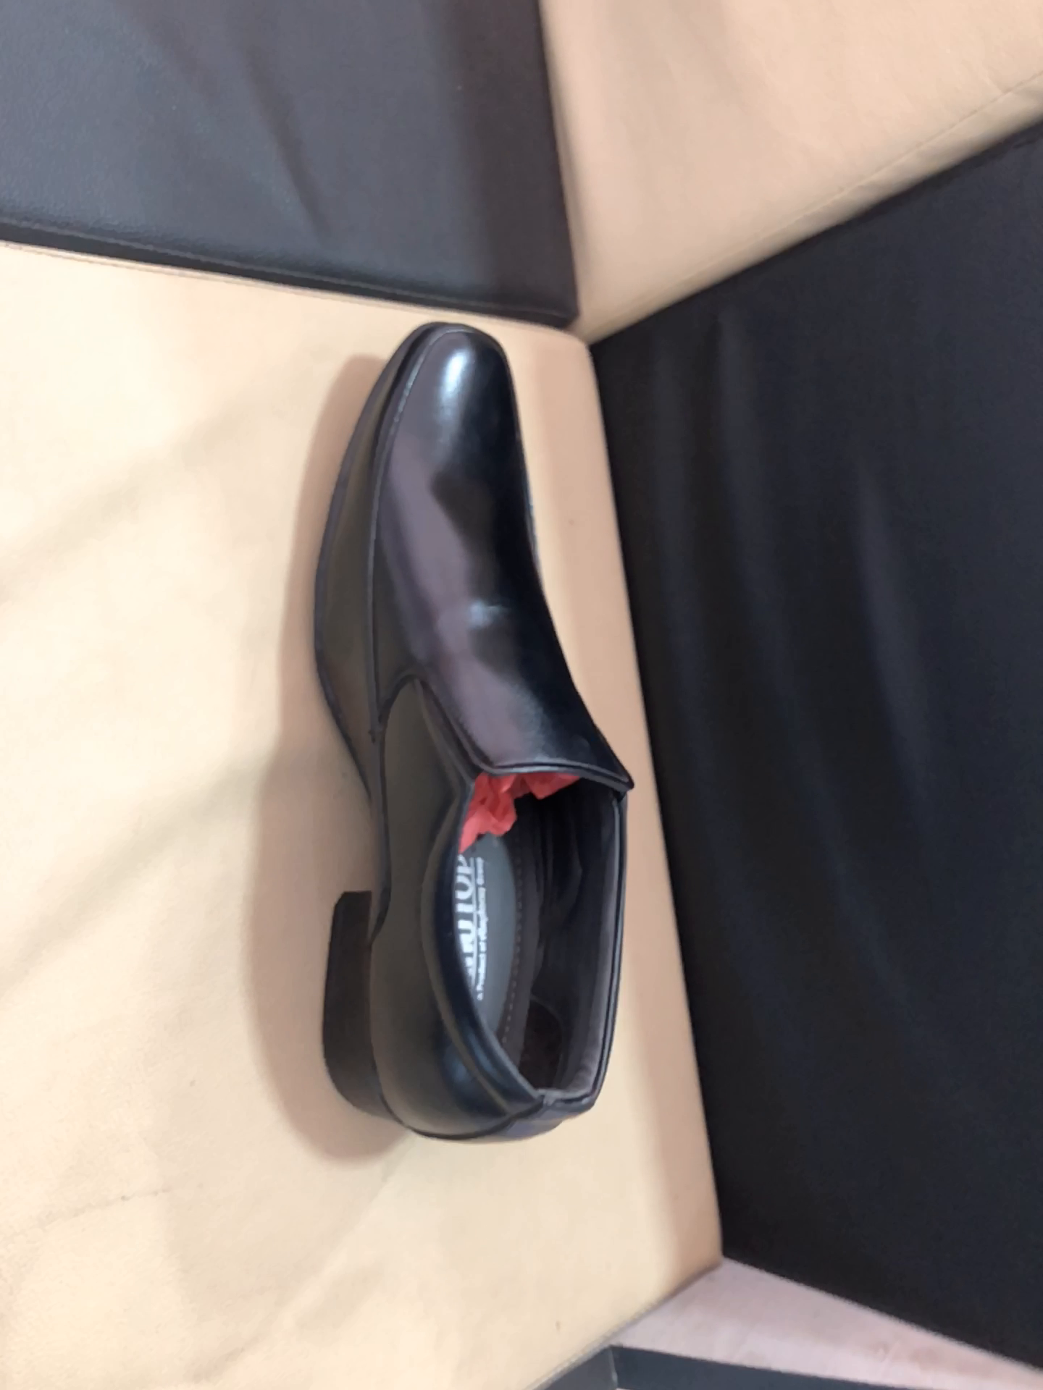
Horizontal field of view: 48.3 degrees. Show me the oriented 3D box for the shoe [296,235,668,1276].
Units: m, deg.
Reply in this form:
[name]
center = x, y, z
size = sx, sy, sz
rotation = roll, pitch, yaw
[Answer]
[shoe]
center = -0.015, 0.017, 0.420
size = 0.101, 0.079, 0.320
rotation = 5, 81, -40
